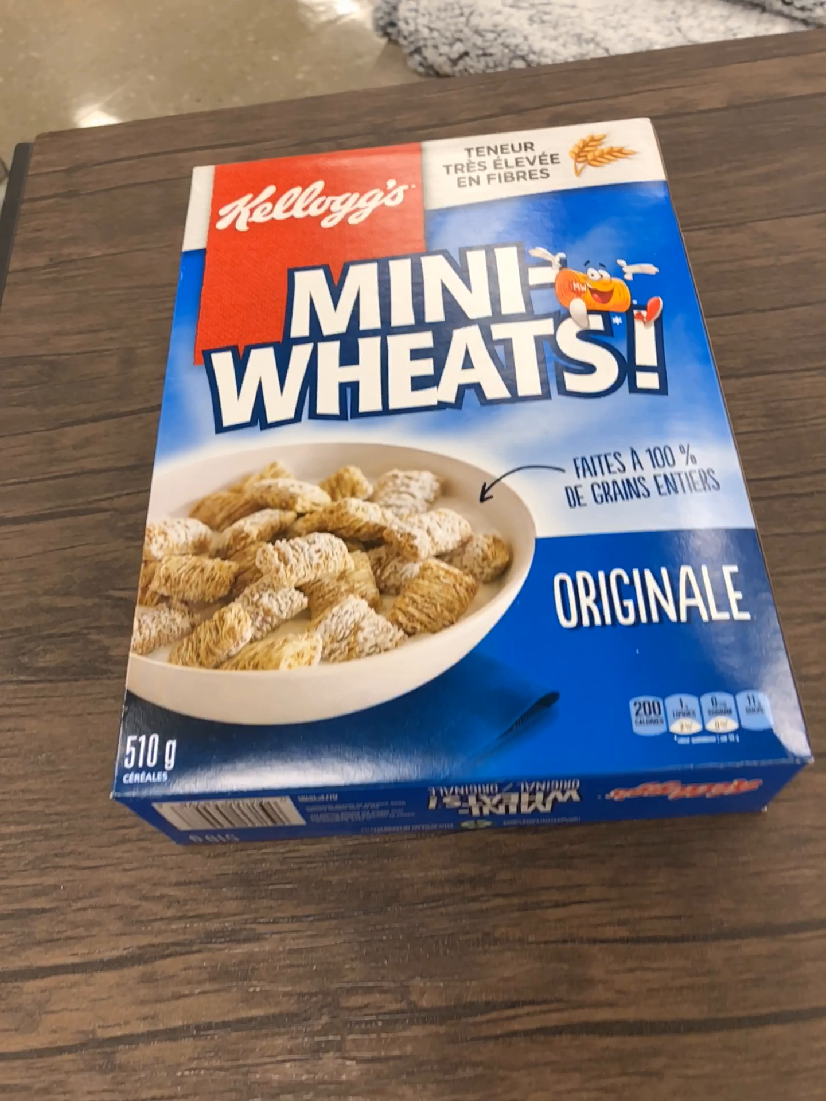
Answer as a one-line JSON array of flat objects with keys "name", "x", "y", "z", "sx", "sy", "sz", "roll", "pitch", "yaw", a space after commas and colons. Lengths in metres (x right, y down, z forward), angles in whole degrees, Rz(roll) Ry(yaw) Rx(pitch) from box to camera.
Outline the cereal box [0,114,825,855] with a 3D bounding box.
[{"name": "cereal box", "x": 0.000, "y": -0.040, "z": 0.336, "sx": 0.230, "sy": 0.060, "sz": 0.270, "roll": -4, "pitch": 58, "yaw": 4}]
